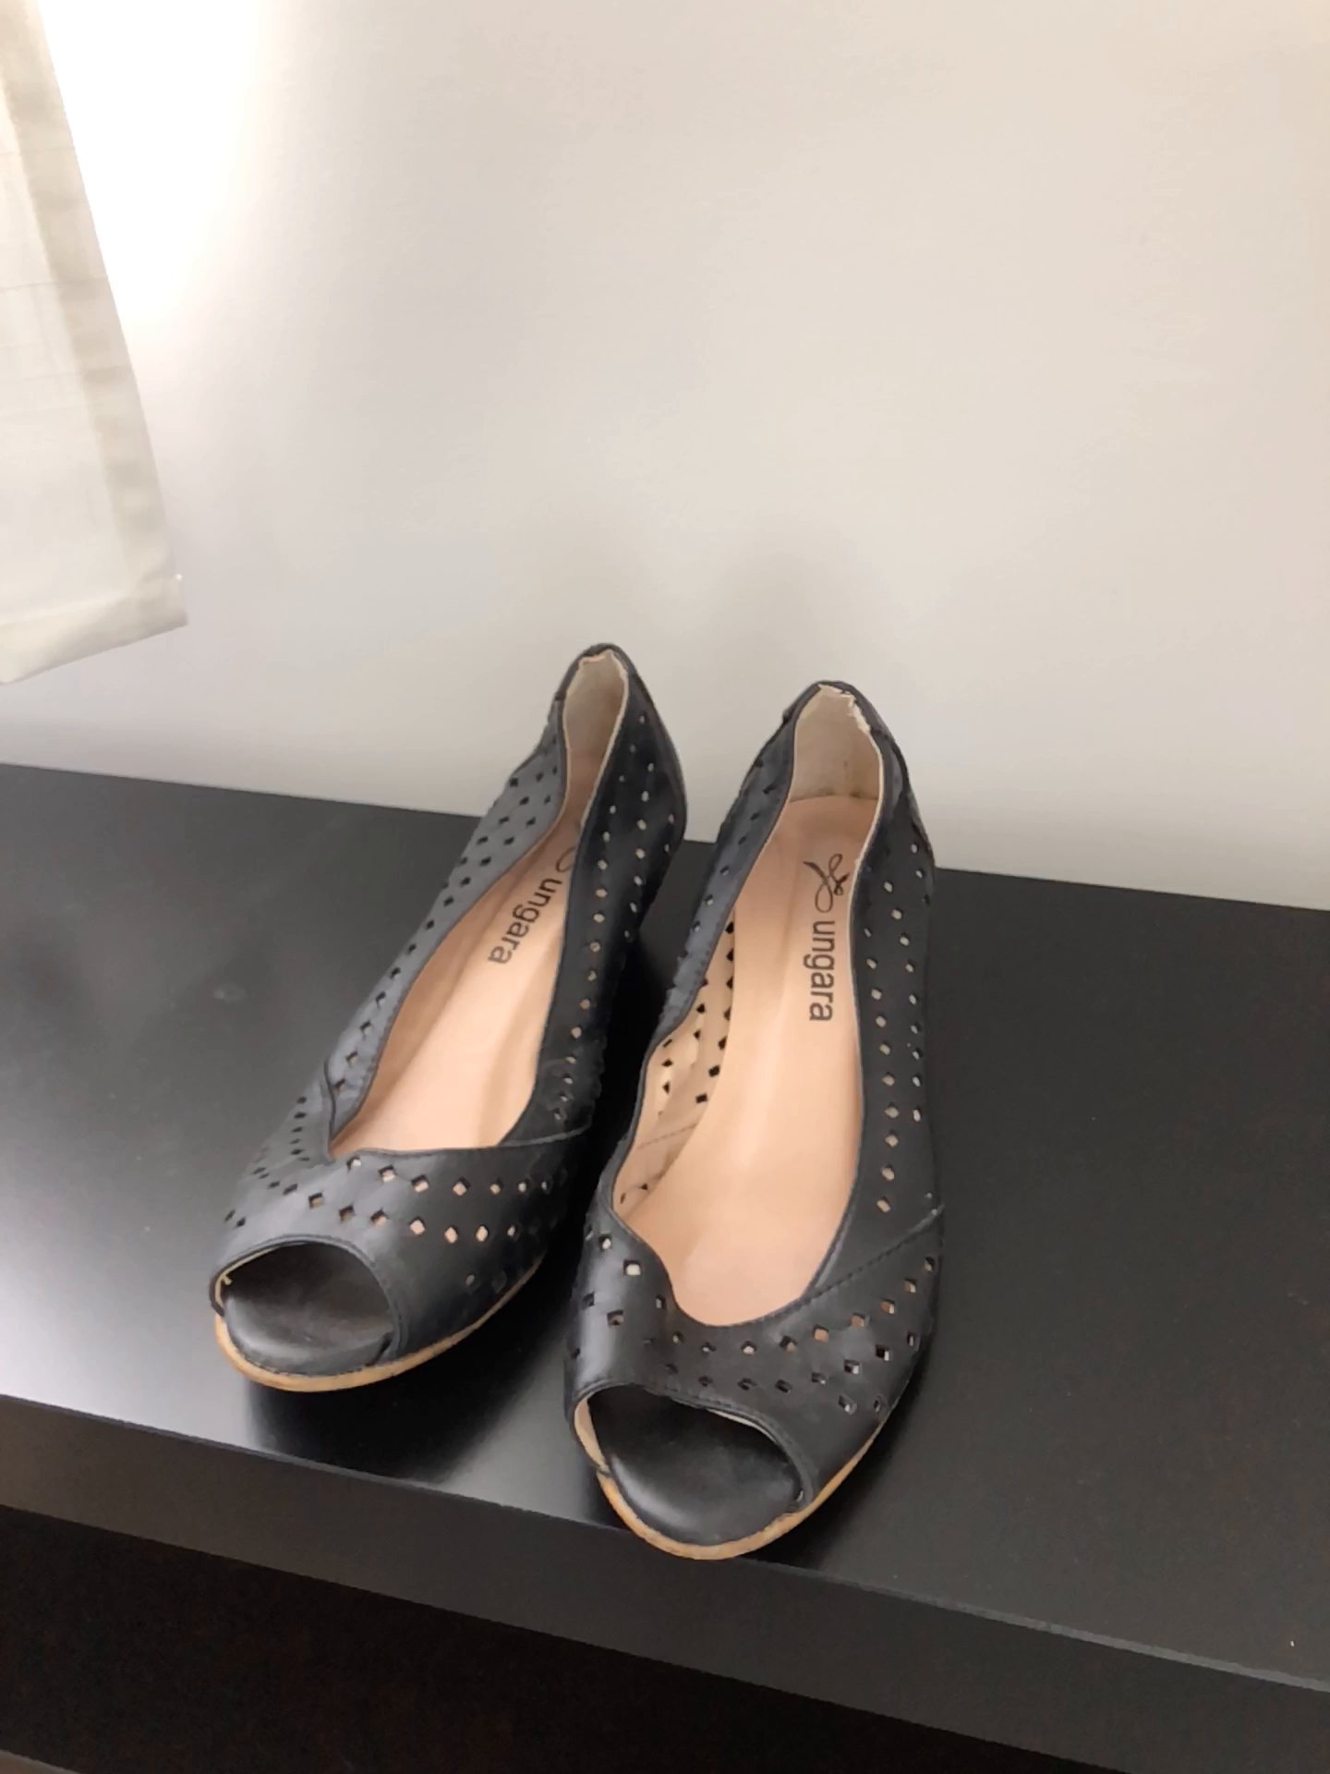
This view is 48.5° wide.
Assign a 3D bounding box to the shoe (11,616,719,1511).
[{"bbox_3d":[-0.055,0.026,0.396,0.085,0.100,0.231,8,37,13],"label":"shoe"}]

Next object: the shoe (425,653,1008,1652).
[{"bbox_3d":[0.028,0.041,0.356,0.085,0.100,0.221,7,36,12],"label":"shoe"}]
